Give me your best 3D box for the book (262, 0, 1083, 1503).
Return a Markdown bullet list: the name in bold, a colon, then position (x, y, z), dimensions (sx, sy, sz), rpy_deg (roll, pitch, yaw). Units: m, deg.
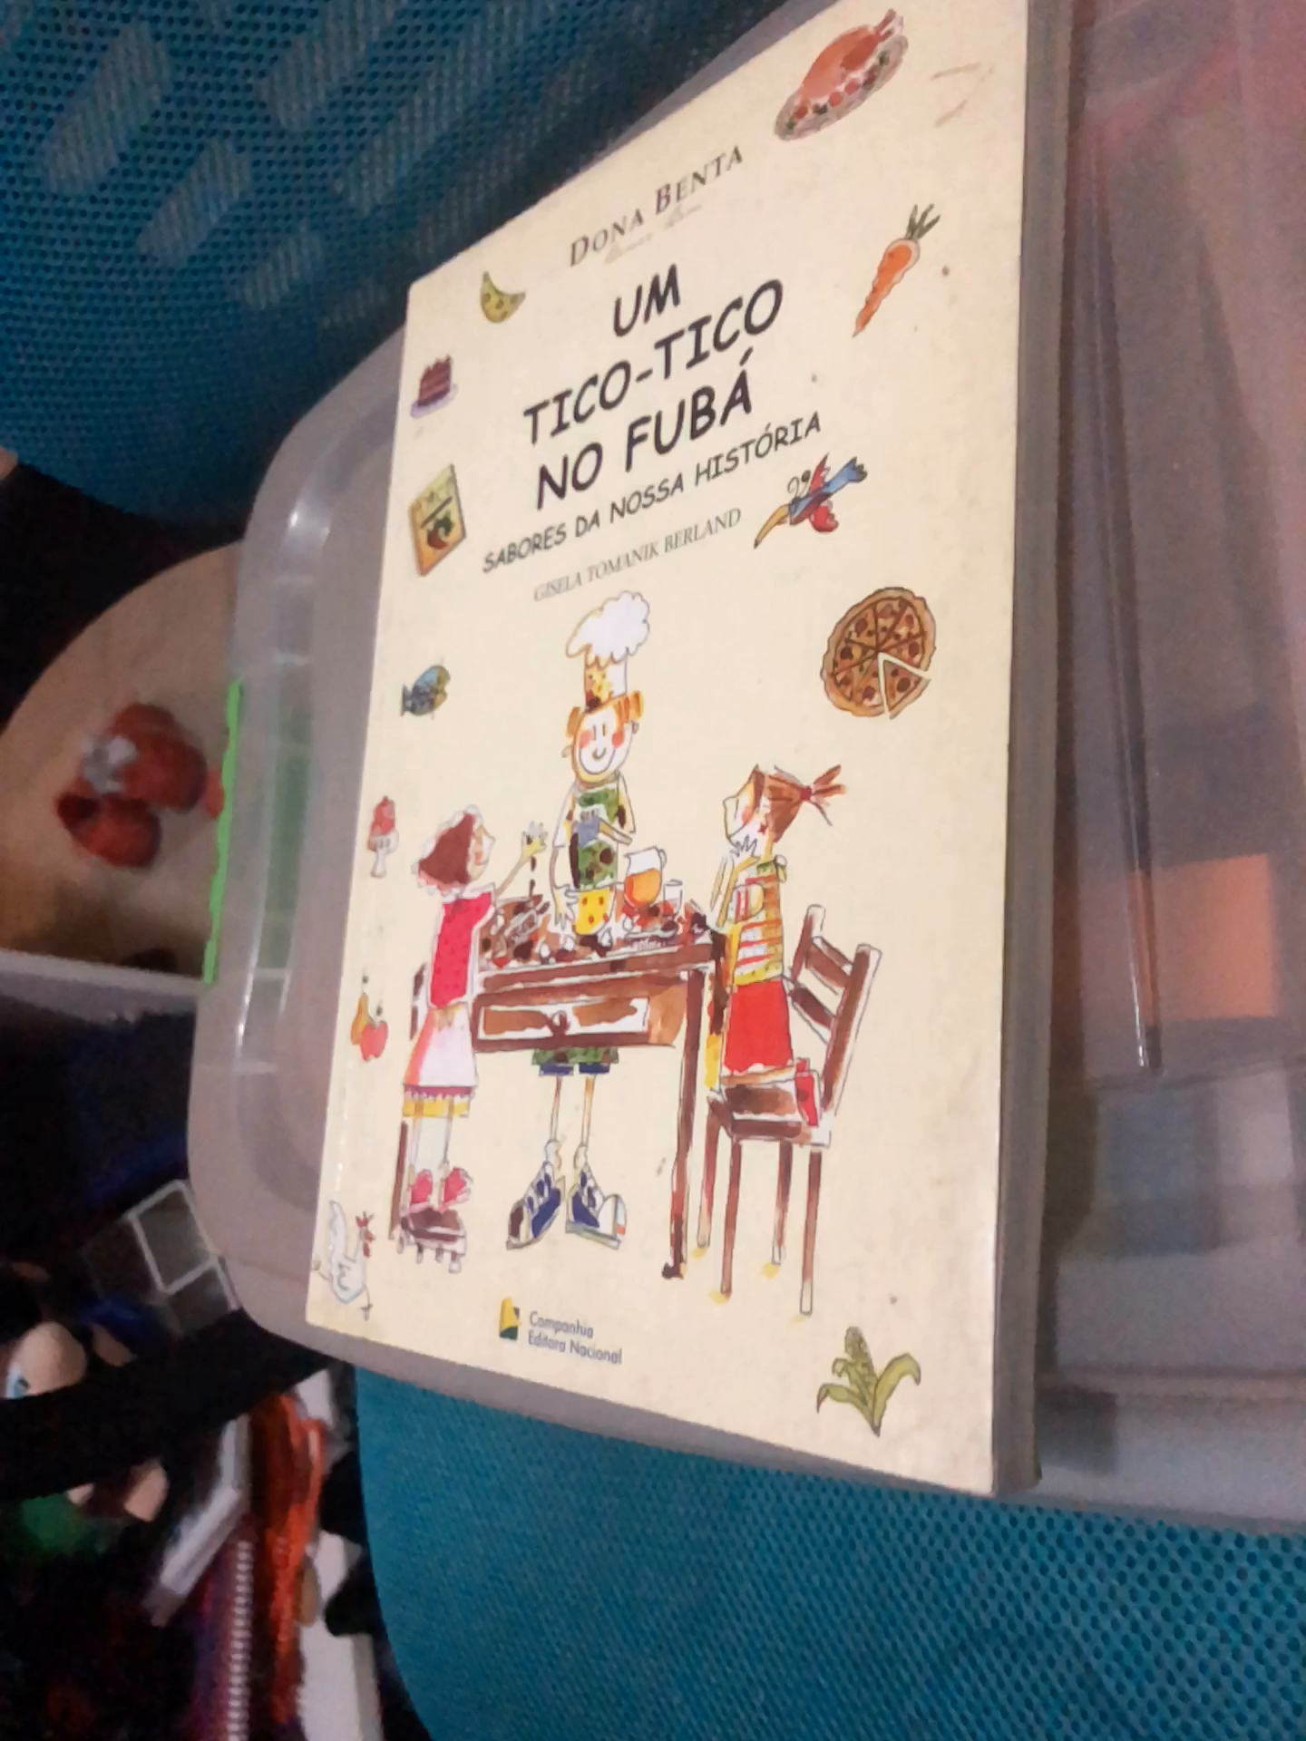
- **book**: position (-0.006, -0.028, 0.264), dimensions (0.172, 0.020, 0.232), rpy_deg (-8, 75, 45)
